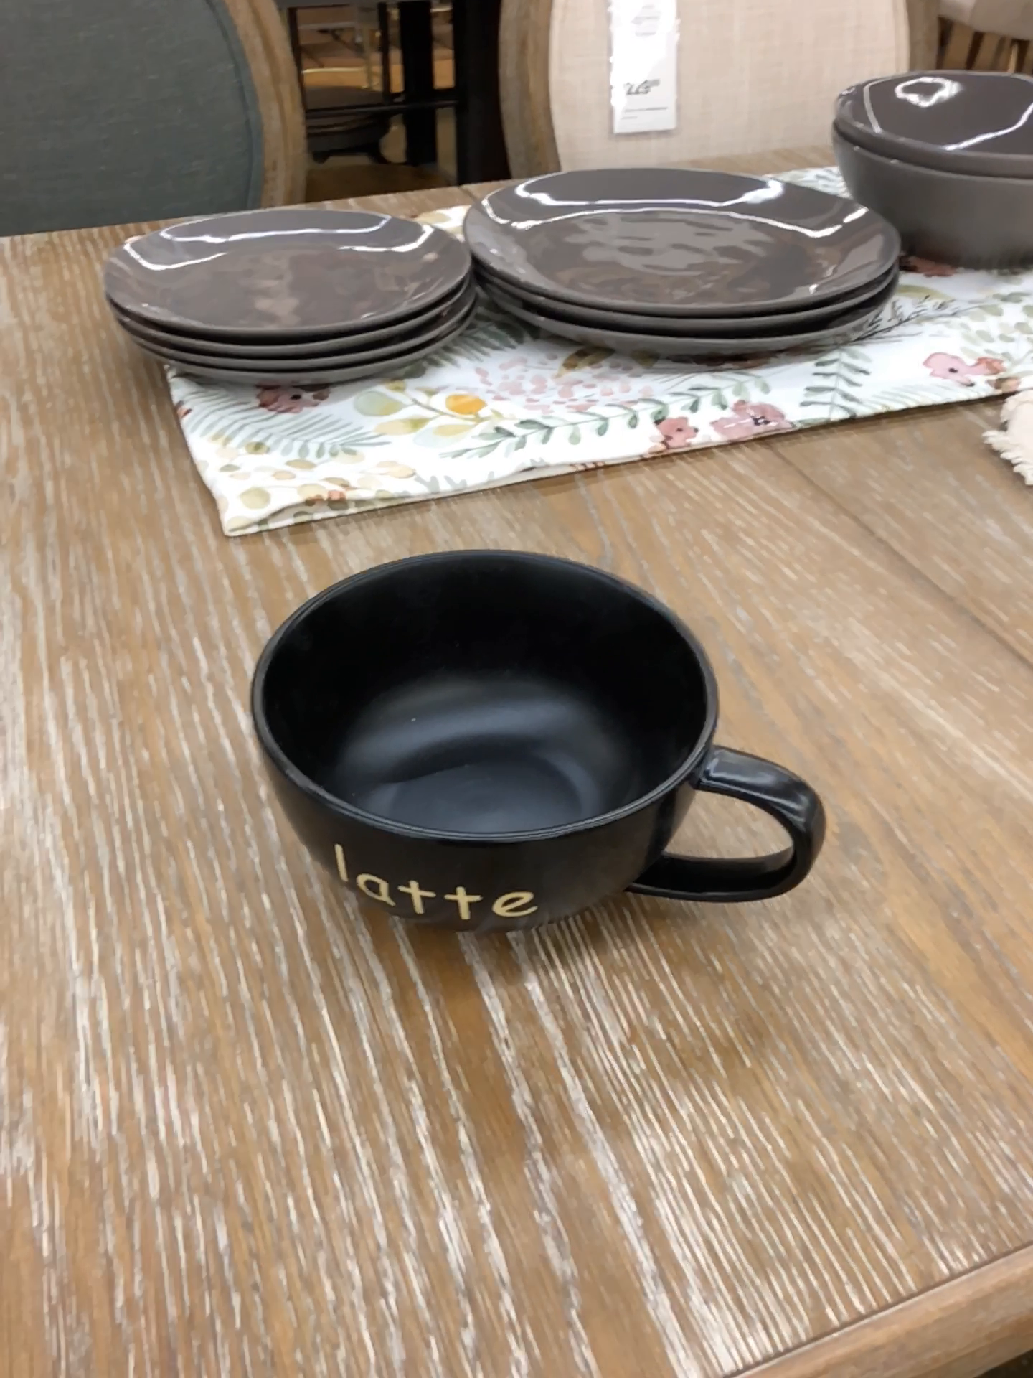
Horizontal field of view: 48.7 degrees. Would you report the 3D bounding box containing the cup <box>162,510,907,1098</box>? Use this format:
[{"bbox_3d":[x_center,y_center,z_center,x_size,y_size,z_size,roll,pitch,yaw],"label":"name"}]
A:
[{"bbox_3d":[0.012,0.019,0.347,0.175,0.054,0.138,16,41,19],"label":"cup"}]
